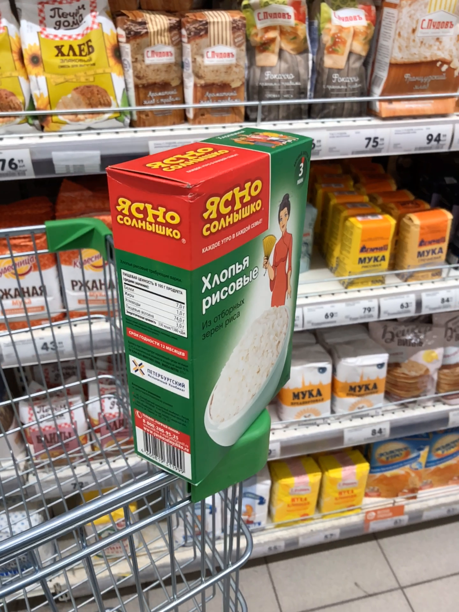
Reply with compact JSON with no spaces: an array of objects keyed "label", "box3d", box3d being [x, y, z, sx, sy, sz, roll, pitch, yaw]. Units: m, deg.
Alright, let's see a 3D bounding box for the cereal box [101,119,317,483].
[{"label":"cereal box","box3d":[-0.005,-0.009,0.331,0.050,0.189,0.141,18,34,27]}]
